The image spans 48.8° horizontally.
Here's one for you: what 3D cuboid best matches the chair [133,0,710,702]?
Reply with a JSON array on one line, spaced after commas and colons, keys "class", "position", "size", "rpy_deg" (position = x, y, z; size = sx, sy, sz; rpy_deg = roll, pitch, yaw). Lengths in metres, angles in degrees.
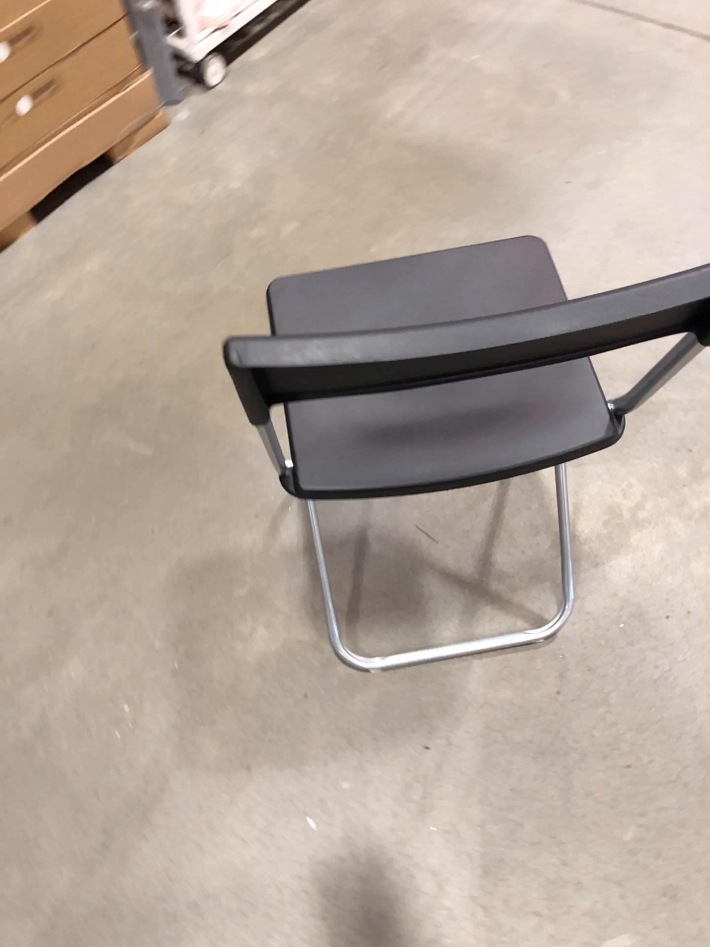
[{"class": "chair", "position": [0.084, -0.105, 0.937], "size": [0.460, 0.759, 0.461], "rpy_deg": [-10, 58, -2]}]
